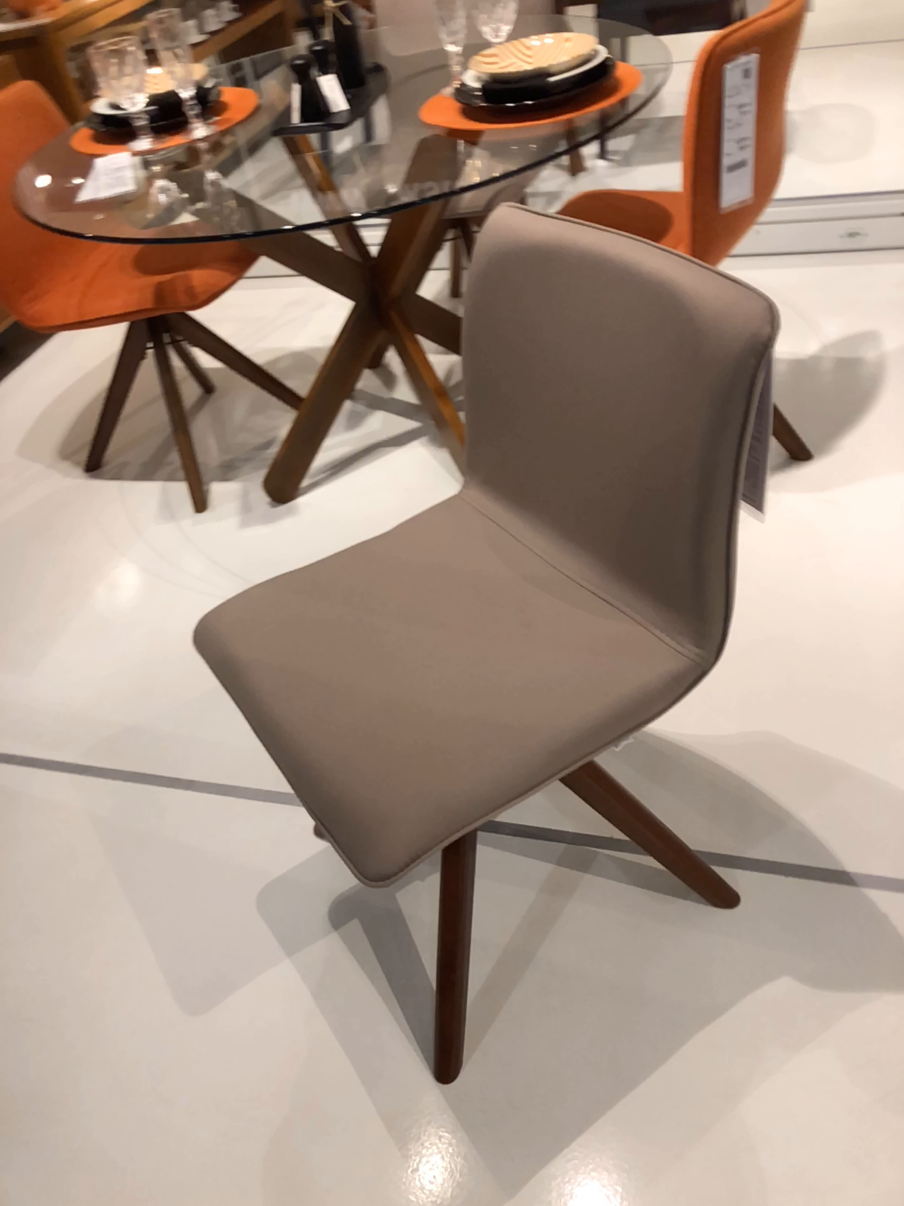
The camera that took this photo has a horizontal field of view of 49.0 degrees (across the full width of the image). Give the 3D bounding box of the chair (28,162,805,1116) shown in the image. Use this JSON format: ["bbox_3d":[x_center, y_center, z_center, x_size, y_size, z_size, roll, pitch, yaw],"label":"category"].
[{"bbox_3d":[0.000,0.042,1.123,0.511,0.804,0.503,-28,42,-17],"label":"chair"}]
